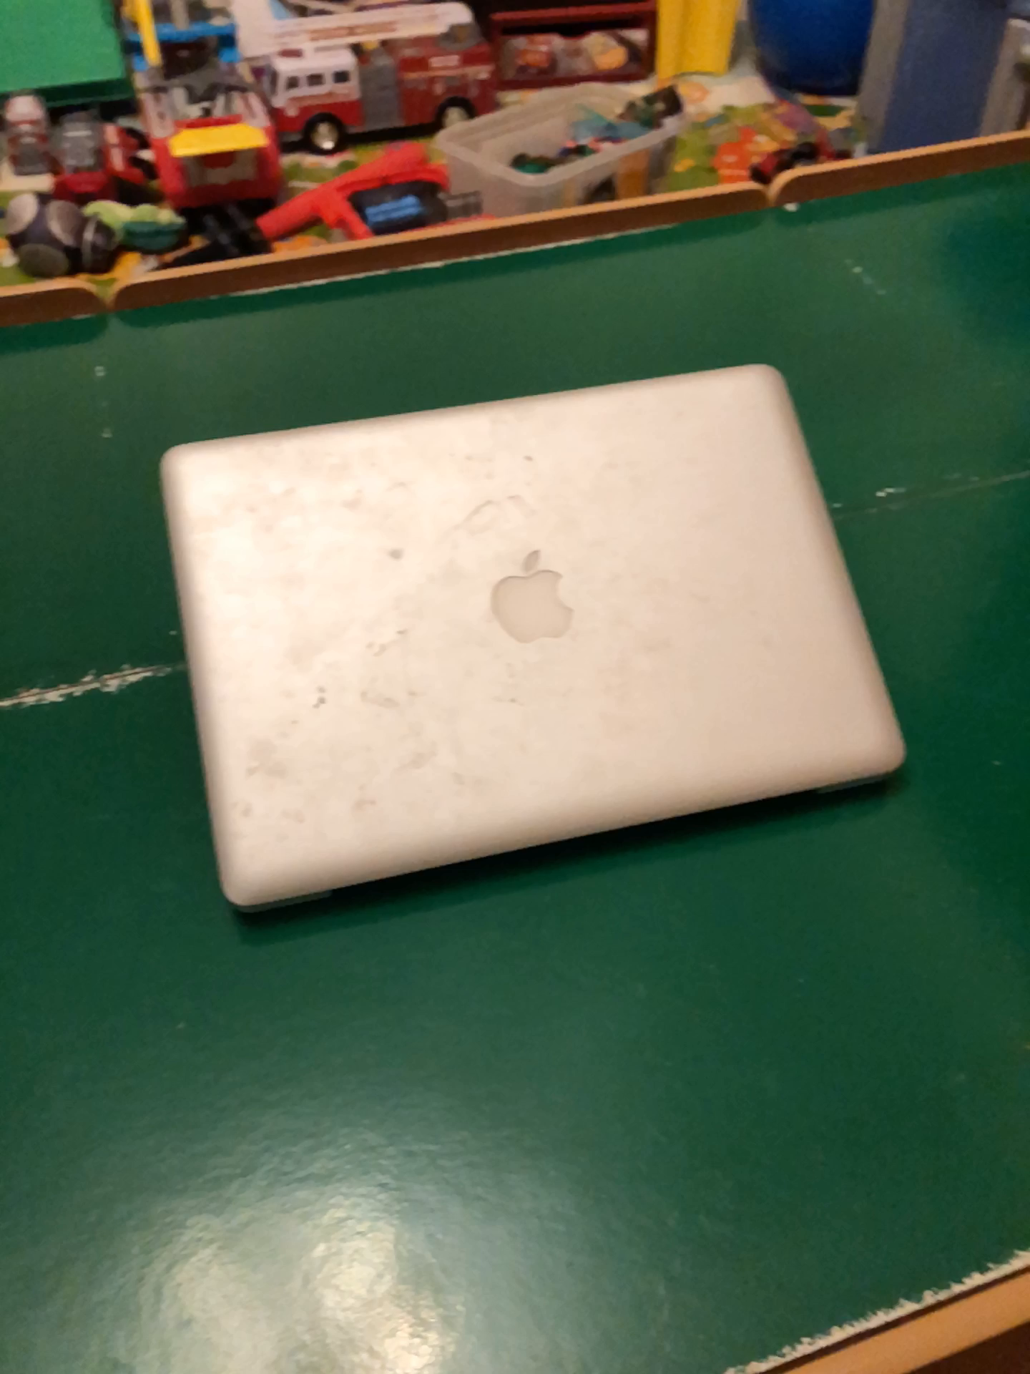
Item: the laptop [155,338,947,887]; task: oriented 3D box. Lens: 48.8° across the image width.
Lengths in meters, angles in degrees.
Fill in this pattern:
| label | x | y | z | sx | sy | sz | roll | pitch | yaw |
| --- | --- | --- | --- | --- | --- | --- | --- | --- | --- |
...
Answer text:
| label | x | y | z | sx | sy | sz | roll | pitch | yaw |
| --- | --- | --- | --- | --- | --- | --- | --- | --- | --- |
| laptop | 0.001 | -0.049 | 0.554 | 0.314 | 0.098 | 0.211 | -11 | 49 | -8 |
